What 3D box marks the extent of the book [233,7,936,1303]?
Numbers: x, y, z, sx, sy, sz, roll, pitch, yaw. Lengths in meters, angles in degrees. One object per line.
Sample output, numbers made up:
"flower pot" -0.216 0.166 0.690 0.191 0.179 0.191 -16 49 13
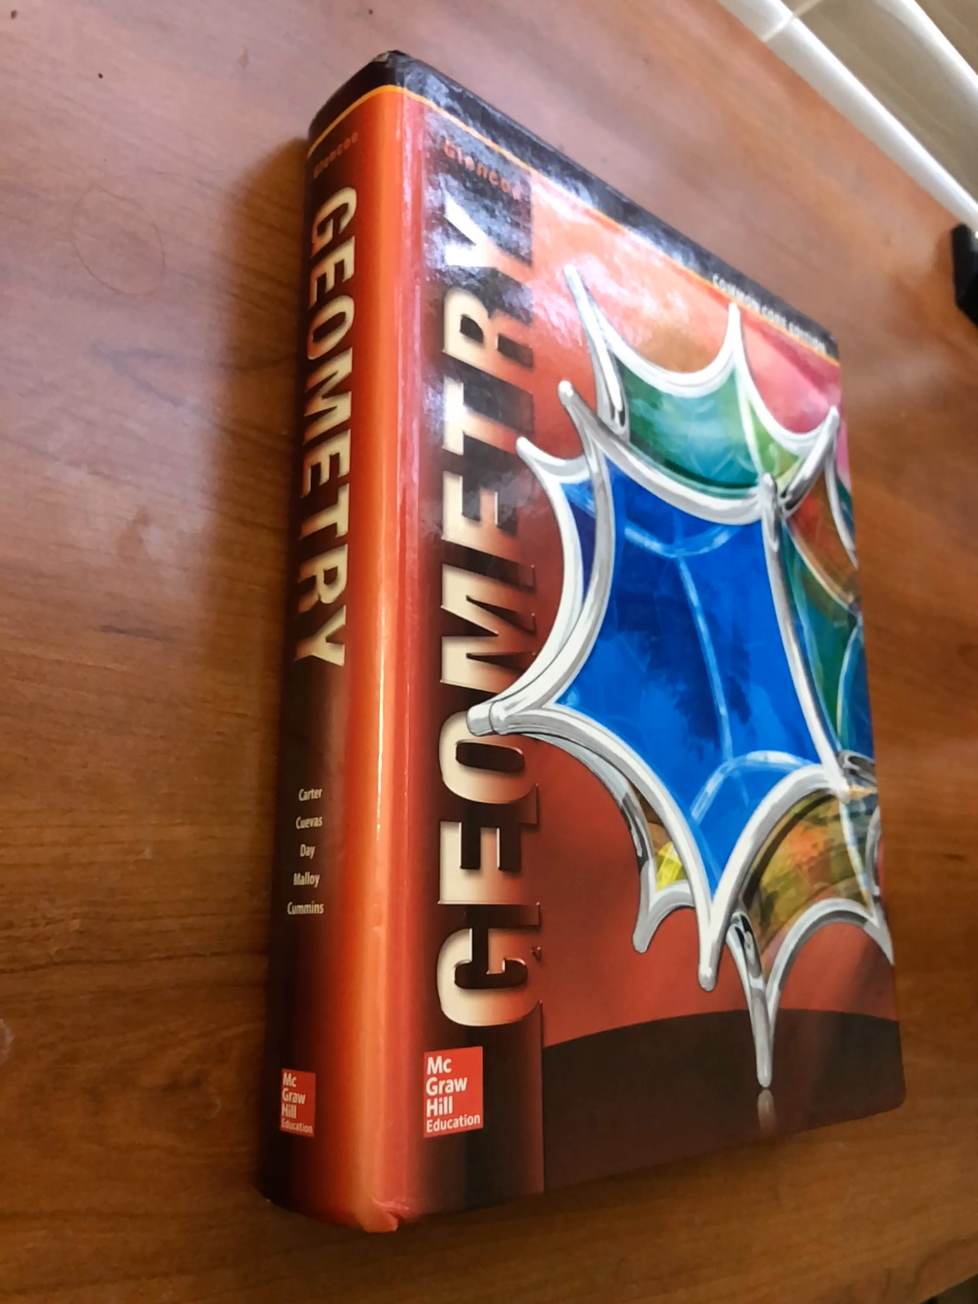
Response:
"book" 0.044 0.004 0.340 0.230 0.050 0.310 13 70 -41
